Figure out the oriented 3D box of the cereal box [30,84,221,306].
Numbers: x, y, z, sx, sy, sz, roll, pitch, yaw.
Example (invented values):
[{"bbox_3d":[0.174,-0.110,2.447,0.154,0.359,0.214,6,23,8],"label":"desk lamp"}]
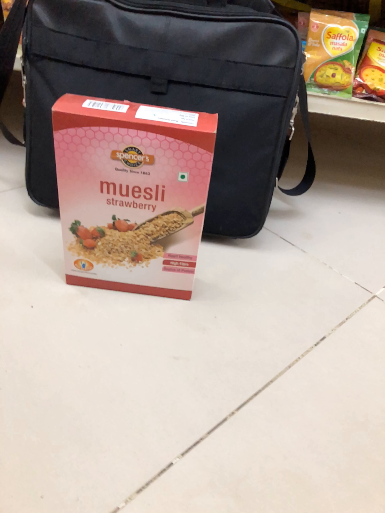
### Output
[{"bbox_3d":[-0.083,-0.066,0.548,0.200,0.258,0.060,8,36,0],"label":"cereal box"}]
